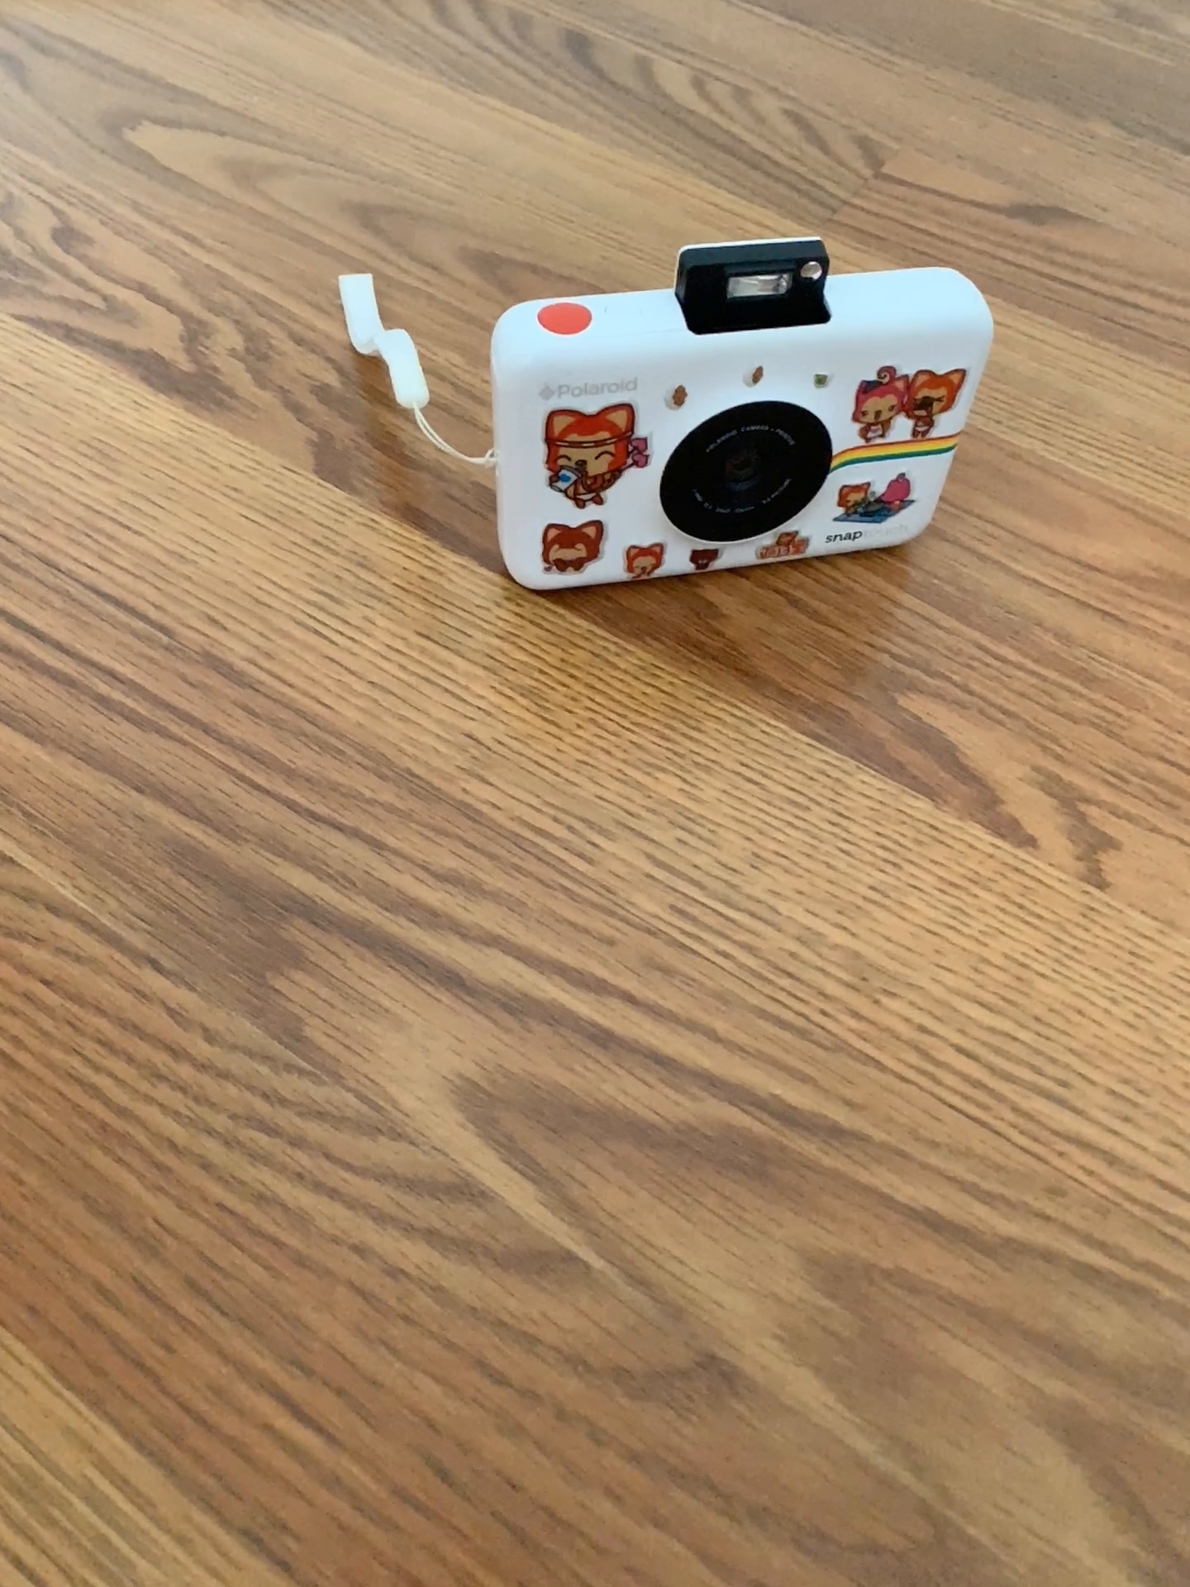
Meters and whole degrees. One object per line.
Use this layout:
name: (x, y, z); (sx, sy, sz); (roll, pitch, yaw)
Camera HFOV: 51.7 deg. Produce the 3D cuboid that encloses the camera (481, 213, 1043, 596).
camera: (0.037, -0.096, 0.312); (0.125, 0.081, 0.026); (-9, 57, -8)
